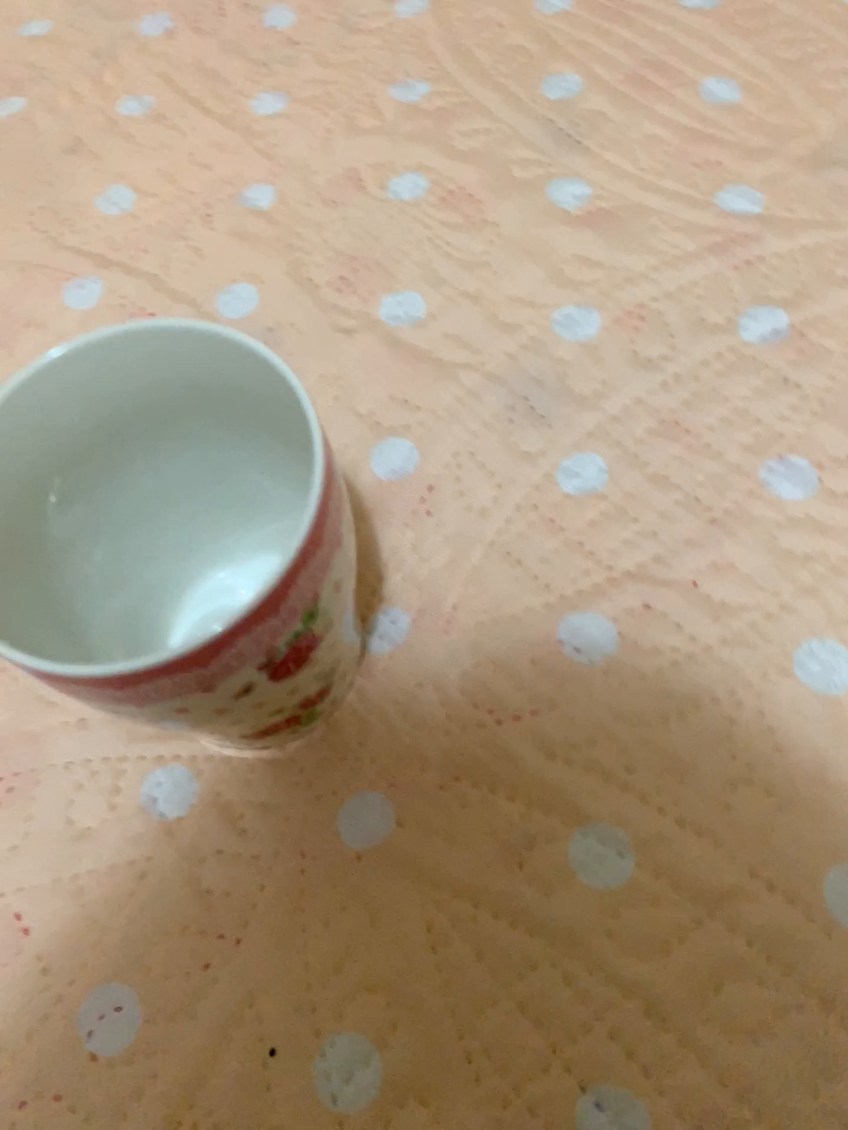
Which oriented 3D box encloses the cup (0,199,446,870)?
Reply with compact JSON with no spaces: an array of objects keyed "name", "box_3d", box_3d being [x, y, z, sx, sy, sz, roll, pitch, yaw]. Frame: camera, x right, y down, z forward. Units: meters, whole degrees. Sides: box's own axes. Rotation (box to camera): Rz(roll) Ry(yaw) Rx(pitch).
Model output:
[{"name":"cup","box_3d":[-0.074,-0.005,0.226,0.120,0.100,0.090,34,72,22]}]
